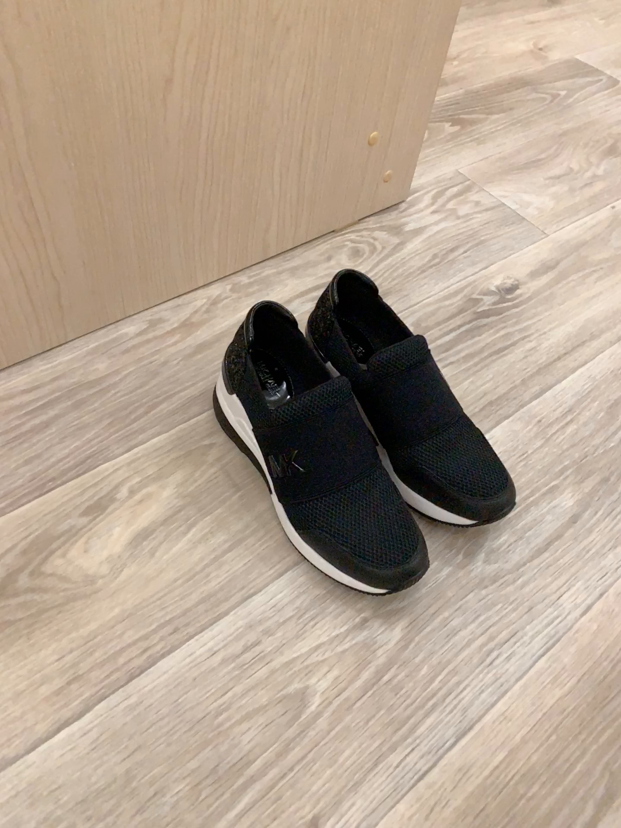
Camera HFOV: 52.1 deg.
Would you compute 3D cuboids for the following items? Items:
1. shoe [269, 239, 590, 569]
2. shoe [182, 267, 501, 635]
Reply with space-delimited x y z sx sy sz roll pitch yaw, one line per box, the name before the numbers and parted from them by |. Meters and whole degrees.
shoe | 0.084 -0.017 0.555 0.098 0.119 0.261 -29 62 -27
shoe | 0.006 0.020 0.510 0.098 0.119 0.261 -26 60 -25
